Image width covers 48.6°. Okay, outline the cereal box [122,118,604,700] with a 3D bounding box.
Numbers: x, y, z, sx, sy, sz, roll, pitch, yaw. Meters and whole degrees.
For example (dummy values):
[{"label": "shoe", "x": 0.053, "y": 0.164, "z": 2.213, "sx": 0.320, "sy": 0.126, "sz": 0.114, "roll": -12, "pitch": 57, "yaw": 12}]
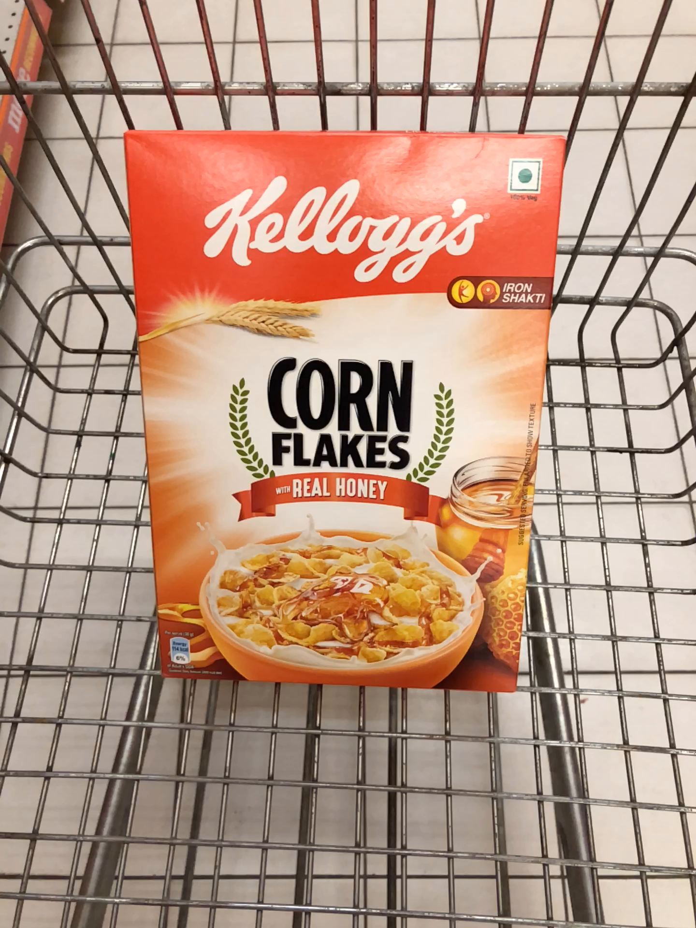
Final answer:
[{"label": "cereal box", "x": 0.004, "y": -0.023, "z": 0.381, "sx": 0.190, "sy": 0.080, "sz": 0.259, "roll": 2, "pitch": 108, "yaw": 2}]
